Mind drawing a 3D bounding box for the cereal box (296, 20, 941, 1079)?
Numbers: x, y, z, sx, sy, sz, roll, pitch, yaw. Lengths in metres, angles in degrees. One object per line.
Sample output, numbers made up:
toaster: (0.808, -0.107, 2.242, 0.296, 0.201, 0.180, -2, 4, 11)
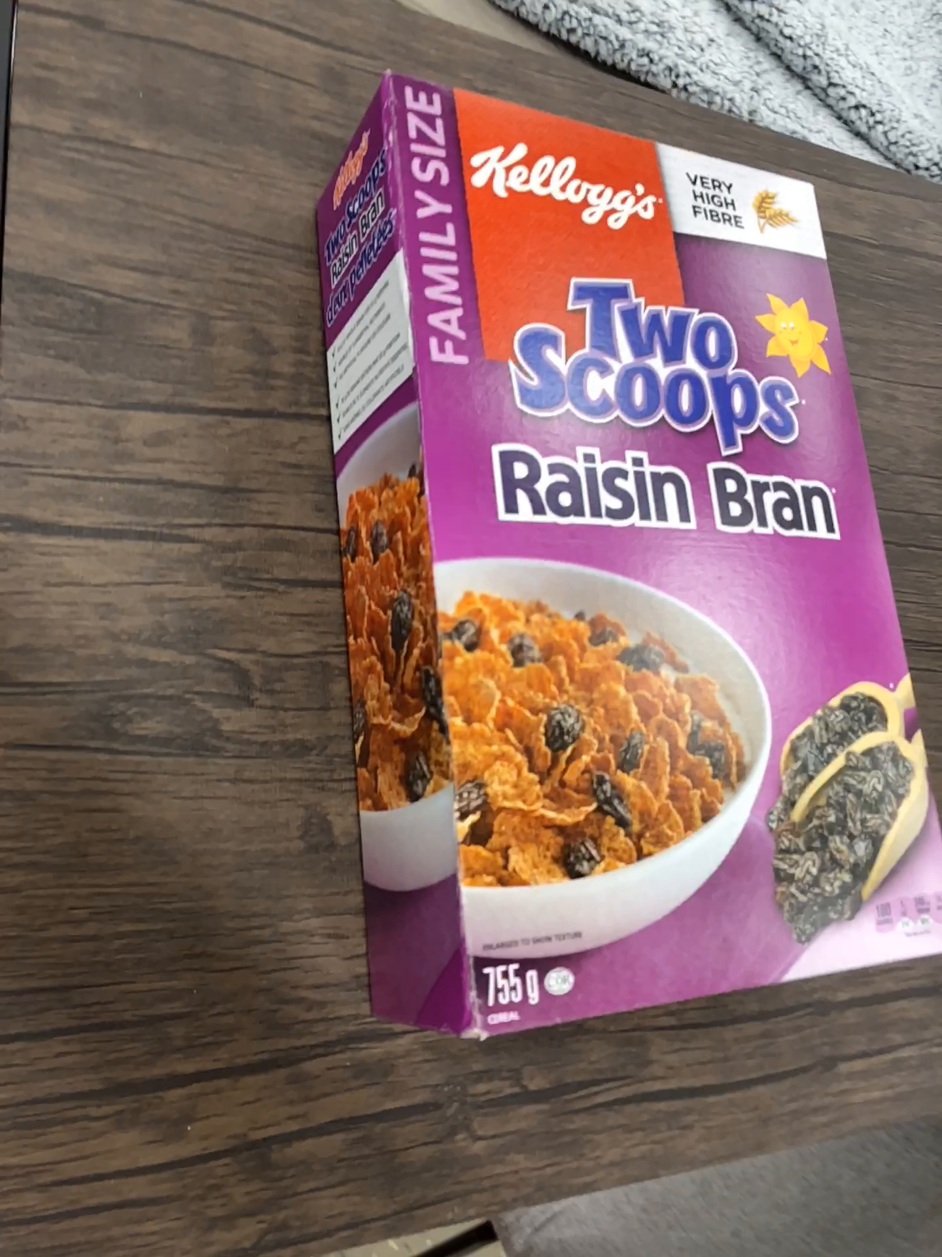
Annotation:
cereal box: (0.059, -0.030, 0.383, 0.211, 0.080, 0.320, 1, 76, -27)
